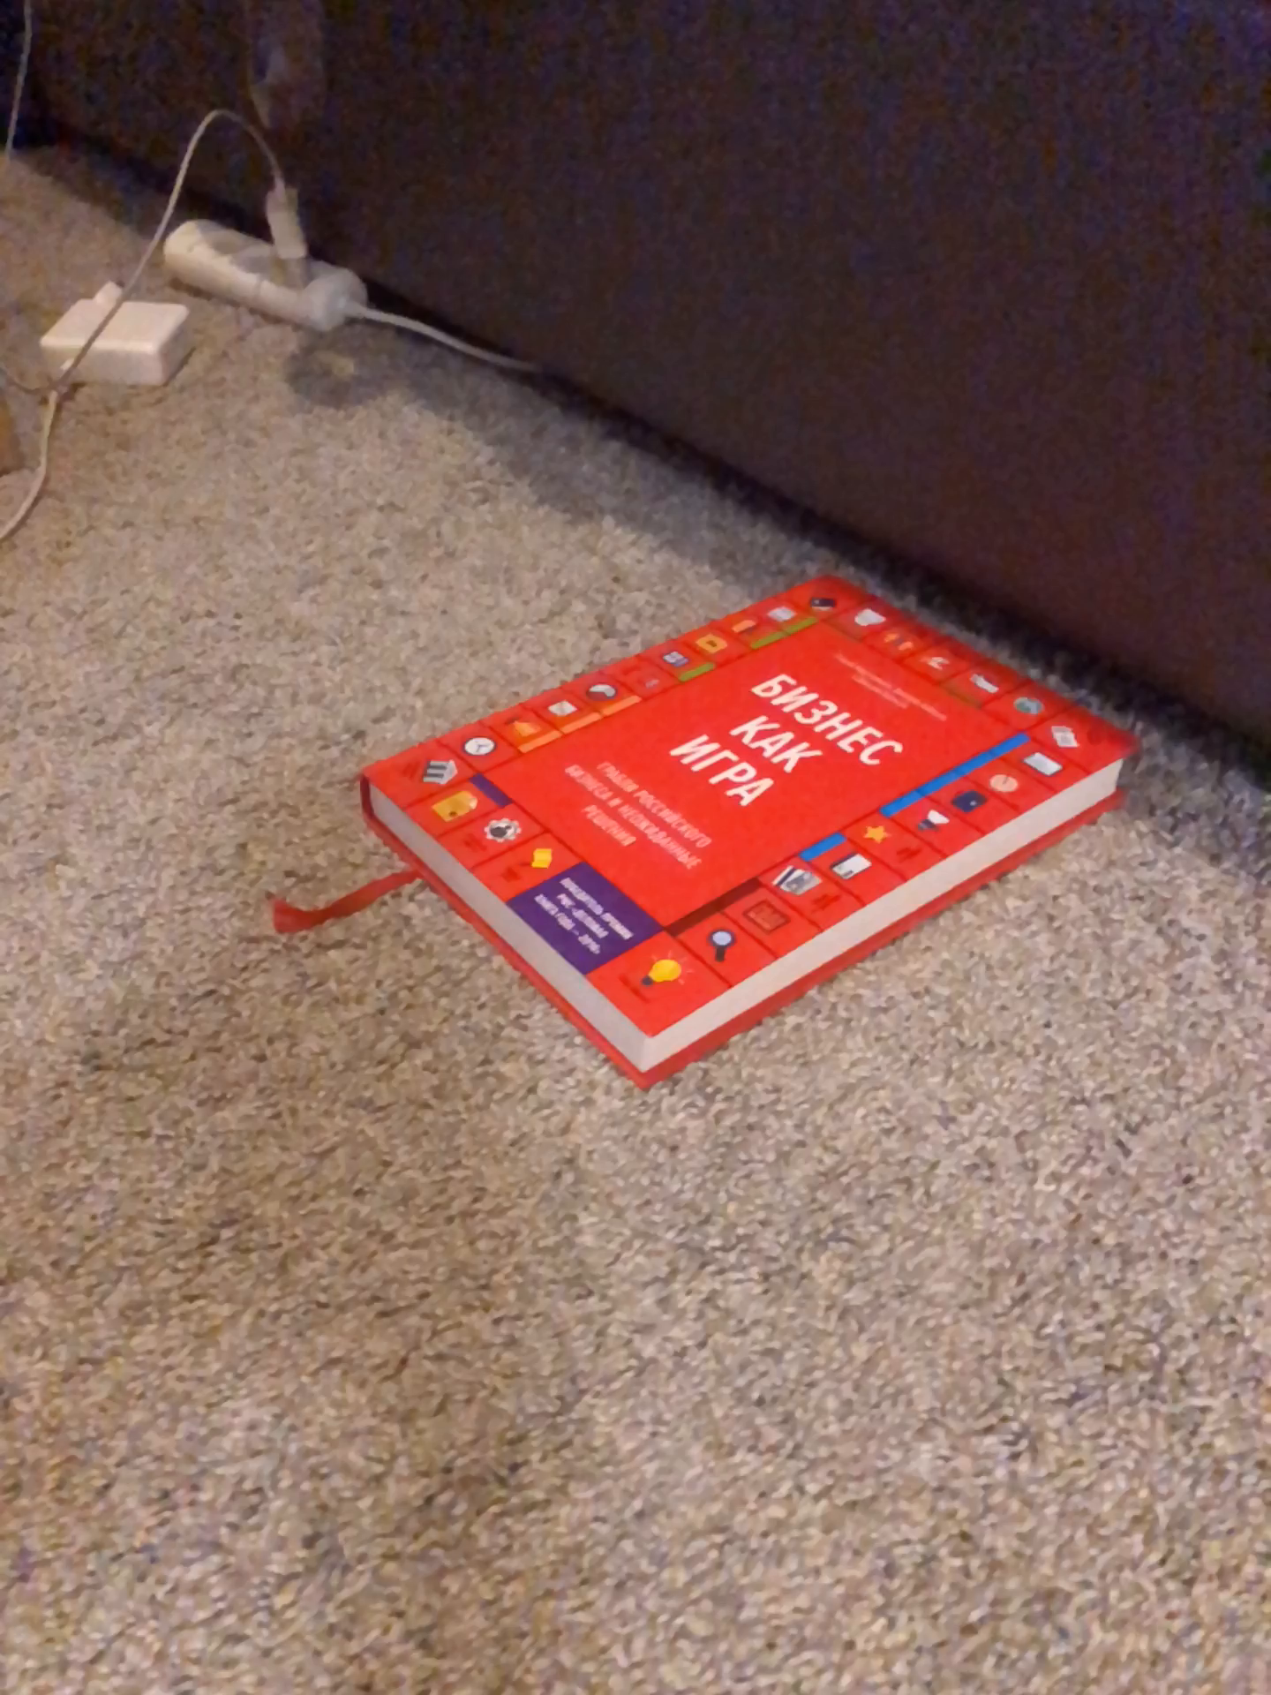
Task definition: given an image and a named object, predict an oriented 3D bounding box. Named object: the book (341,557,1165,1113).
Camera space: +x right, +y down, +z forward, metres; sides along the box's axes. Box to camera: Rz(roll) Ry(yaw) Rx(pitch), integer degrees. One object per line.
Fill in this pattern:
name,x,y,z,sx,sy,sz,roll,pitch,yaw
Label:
book,0.046,-0.026,0.523,0.247,0.033,0.180,-26,46,-30
